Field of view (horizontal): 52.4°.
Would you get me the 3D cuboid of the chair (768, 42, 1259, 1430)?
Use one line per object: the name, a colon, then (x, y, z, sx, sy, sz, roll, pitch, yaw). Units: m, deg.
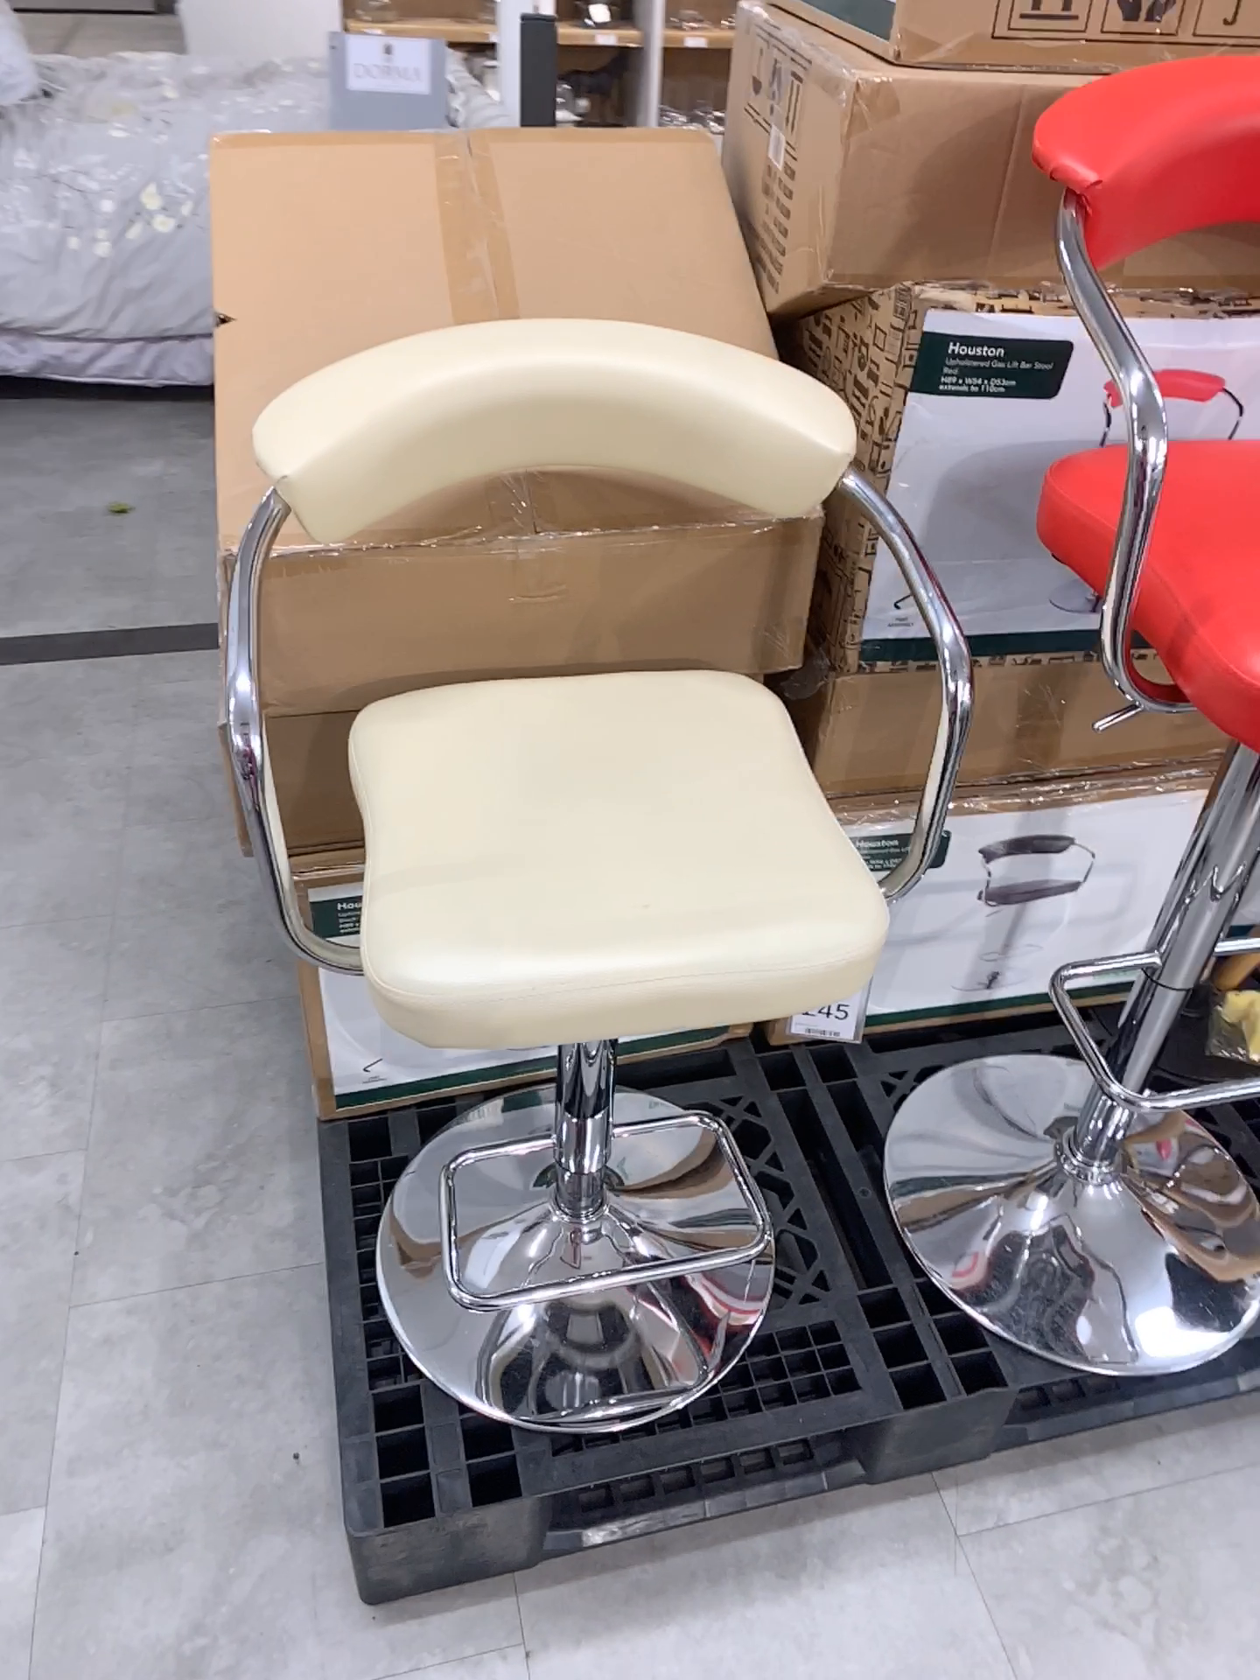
chair: (0.488, -0.045, 1.134, 0.474, 1.058, 0.524, -6, 39, -12)

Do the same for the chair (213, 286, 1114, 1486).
chair: (-0.042, 0.047, 1.087, 0.464, 0.841, 0.504, -6, 39, -12)
